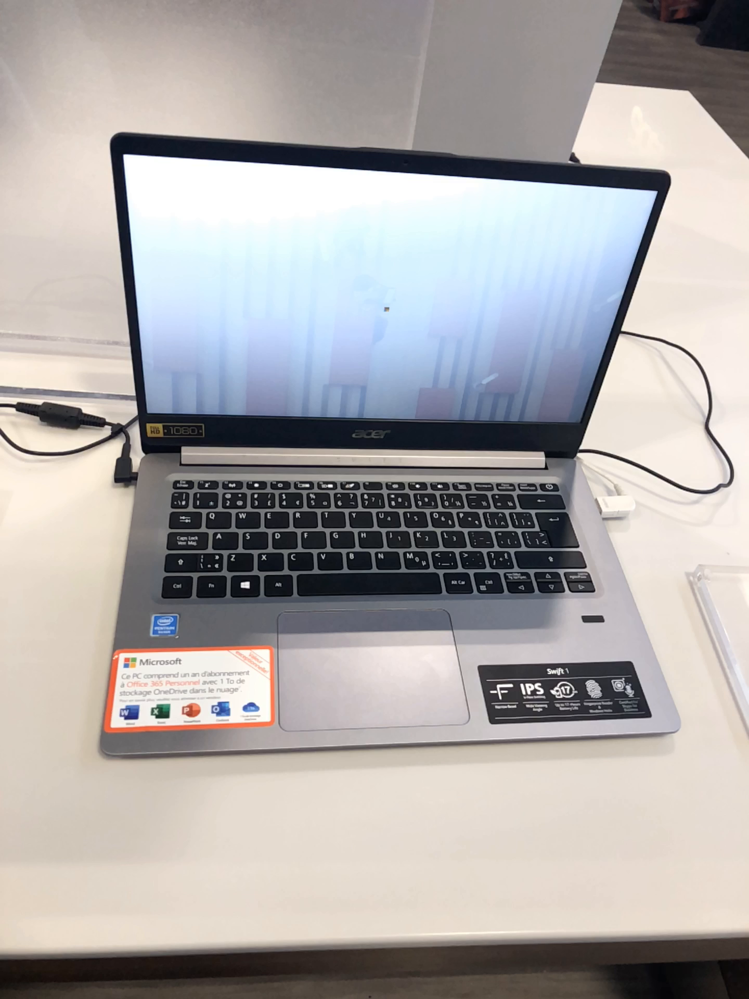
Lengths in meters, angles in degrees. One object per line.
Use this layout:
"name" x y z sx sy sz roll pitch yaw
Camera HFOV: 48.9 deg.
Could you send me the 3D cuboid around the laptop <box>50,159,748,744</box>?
"laptop" 0.020 -0.026 0.455 0.306 0.205 0.225 0 46 -9
